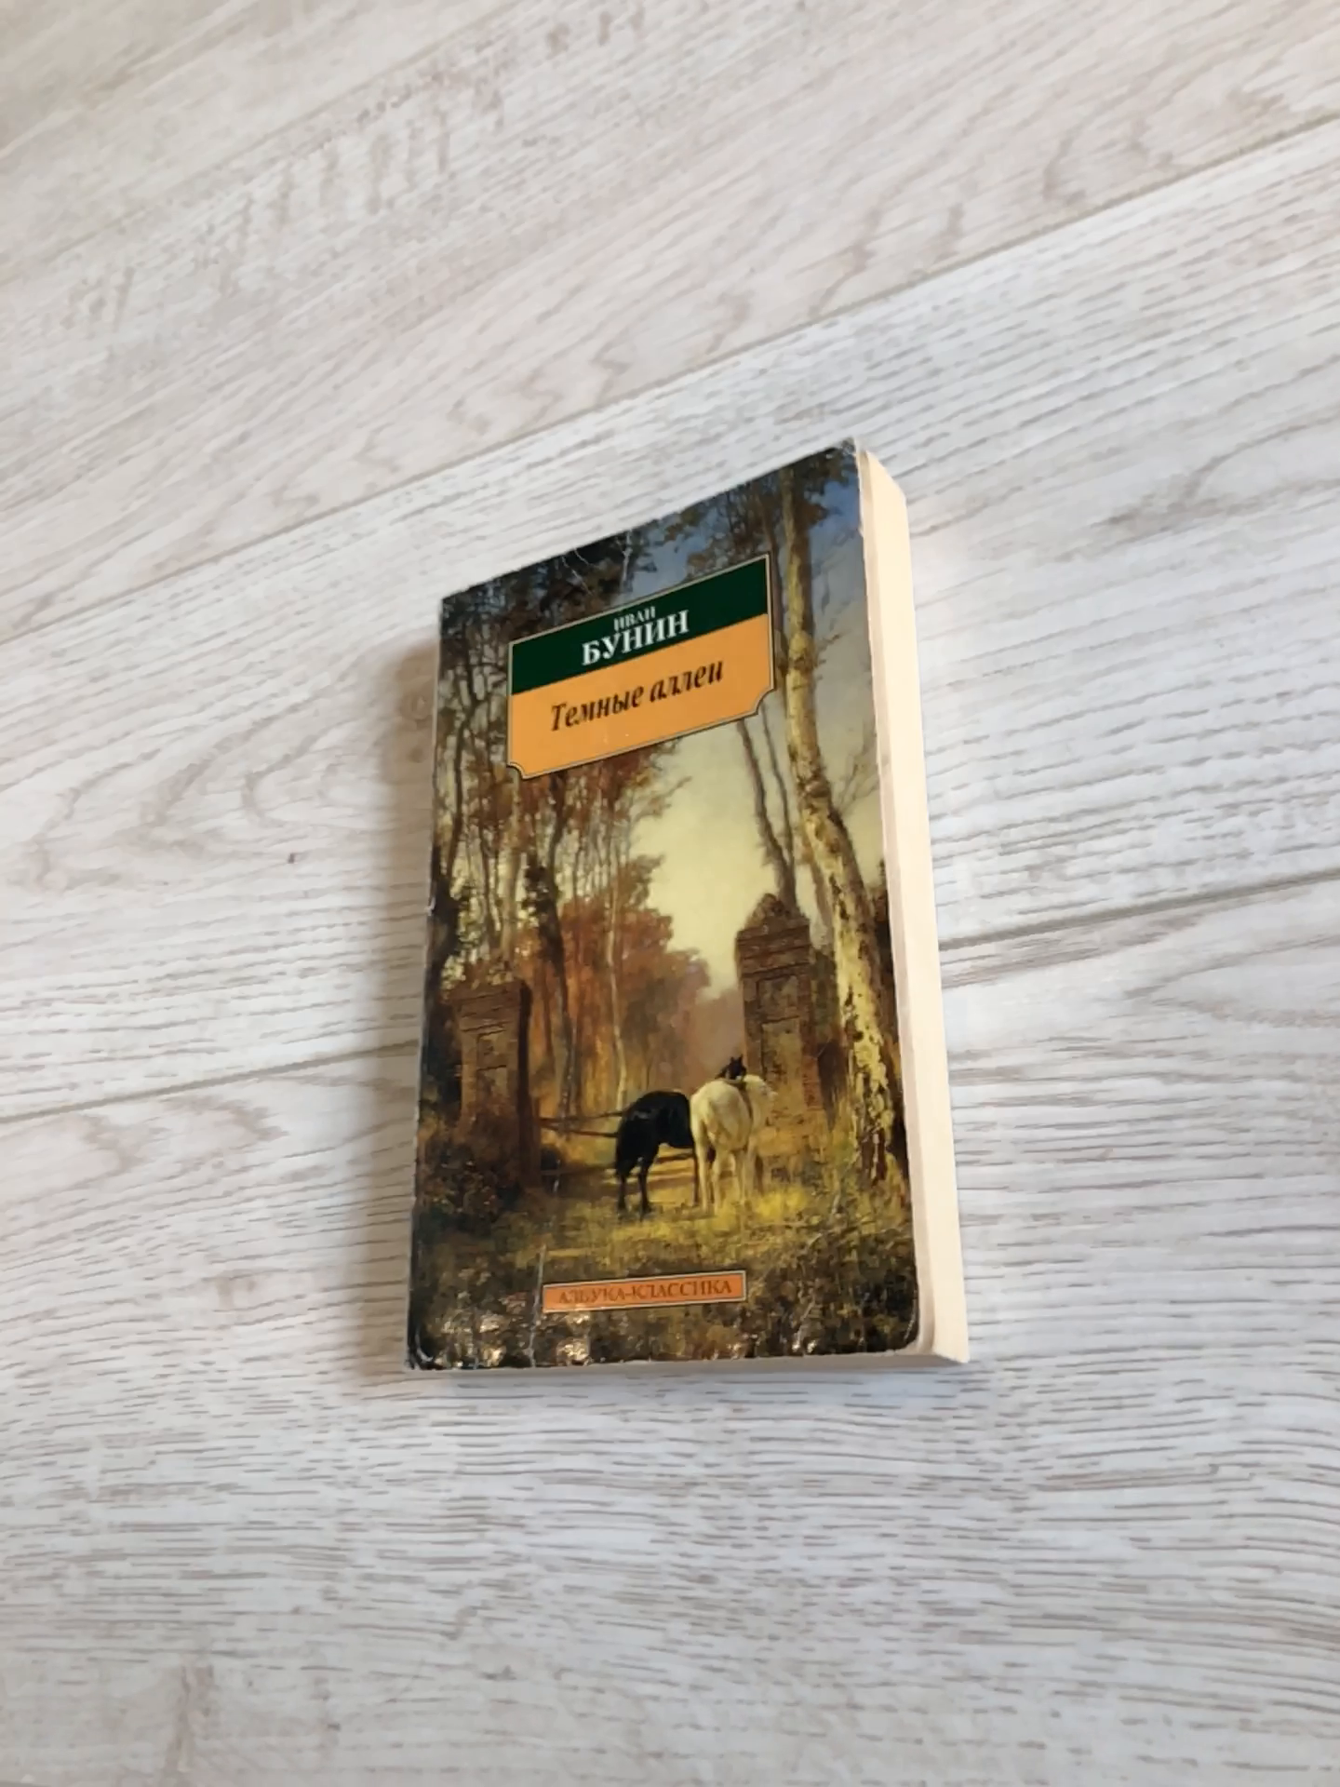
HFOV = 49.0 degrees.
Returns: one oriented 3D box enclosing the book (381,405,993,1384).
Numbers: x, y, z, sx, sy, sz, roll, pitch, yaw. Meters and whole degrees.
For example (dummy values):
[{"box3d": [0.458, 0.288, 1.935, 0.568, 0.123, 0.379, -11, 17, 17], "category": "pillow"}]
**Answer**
[{"box3d": [-0.002, 0.002, 0.292, 0.112, 0.024, 0.177, -13, 67, 29], "category": "book"}]
